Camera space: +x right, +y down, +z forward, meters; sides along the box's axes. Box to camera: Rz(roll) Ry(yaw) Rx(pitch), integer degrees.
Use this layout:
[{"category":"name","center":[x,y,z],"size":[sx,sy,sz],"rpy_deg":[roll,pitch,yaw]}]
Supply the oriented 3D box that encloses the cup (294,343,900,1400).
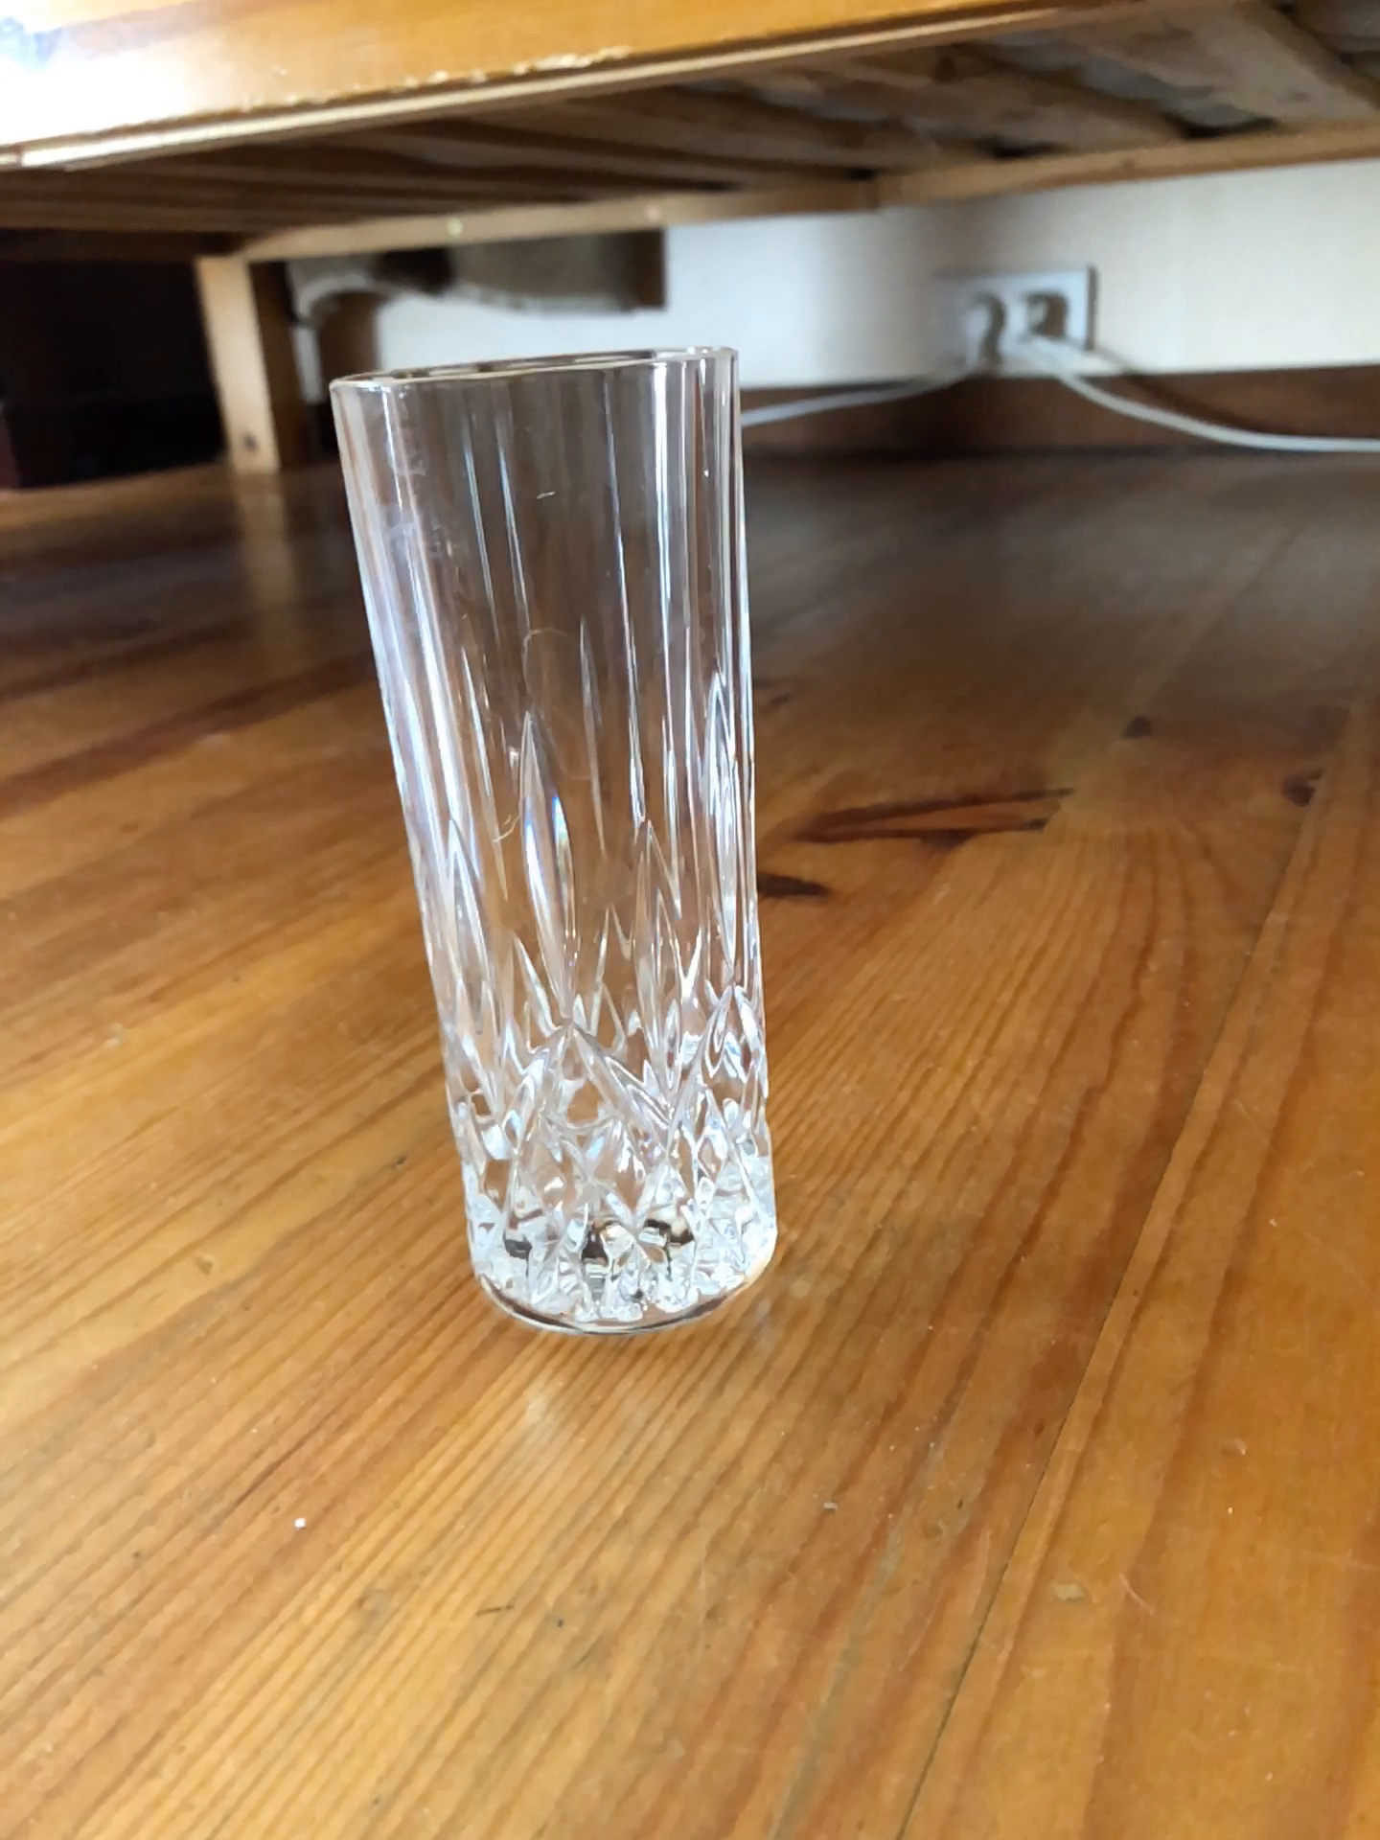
[{"category":"cup","center":[-0.012,-0.011,0.242],"size":[0.064,0.144,0.059],"rpy_deg":[-3,22,1]}]
